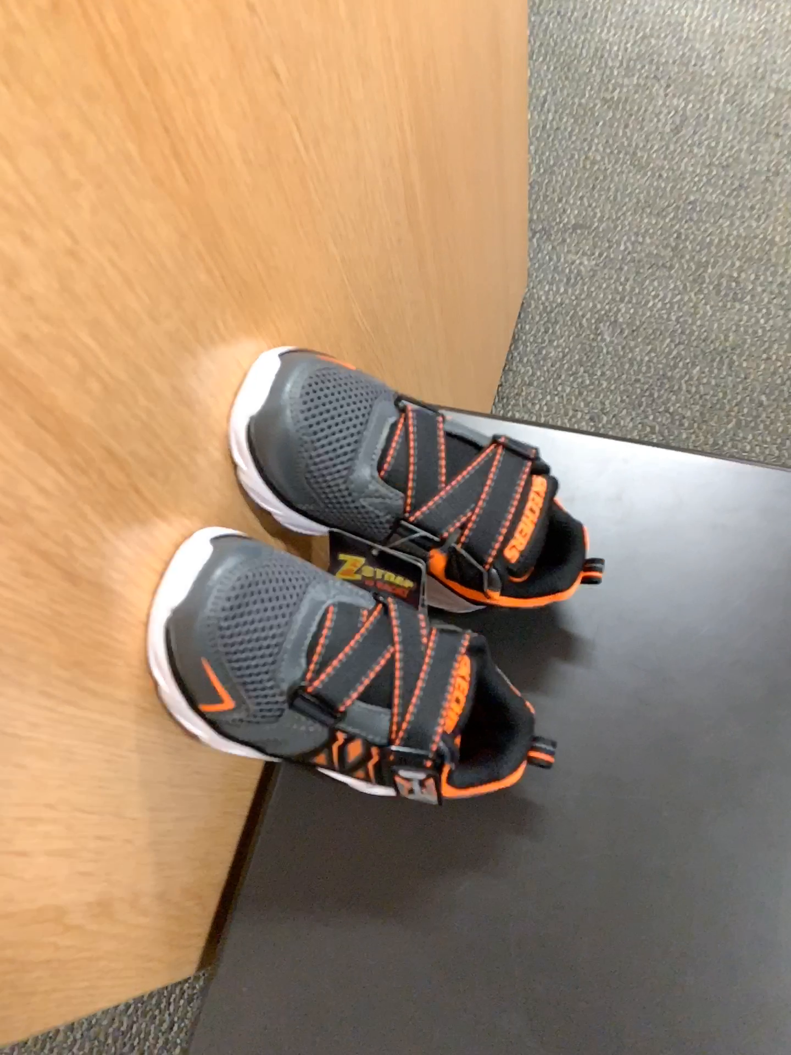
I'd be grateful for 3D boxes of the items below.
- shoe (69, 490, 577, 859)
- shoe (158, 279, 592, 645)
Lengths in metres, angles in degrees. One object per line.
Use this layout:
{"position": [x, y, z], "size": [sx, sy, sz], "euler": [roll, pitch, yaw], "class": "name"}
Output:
{"position": [-0.021, 0.066, 0.348], "size": [0.100, 0.180, 0.090], "euler": [1, 65, 46], "class": "shoe"}
{"position": [-0.001, -0.020, 0.399], "size": [0.100, 0.180, 0.090], "euler": [1, 65, 46], "class": "shoe"}
